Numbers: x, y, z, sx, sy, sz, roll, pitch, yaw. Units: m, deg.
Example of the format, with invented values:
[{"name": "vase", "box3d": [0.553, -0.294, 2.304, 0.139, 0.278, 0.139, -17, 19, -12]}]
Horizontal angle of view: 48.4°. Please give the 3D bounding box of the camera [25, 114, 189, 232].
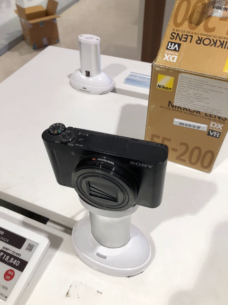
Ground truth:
[{"name": "camera", "box3d": [-0.005, 0.017, 0.200, 0.110, 0.070, 0.030, 13, 48, 14]}]
